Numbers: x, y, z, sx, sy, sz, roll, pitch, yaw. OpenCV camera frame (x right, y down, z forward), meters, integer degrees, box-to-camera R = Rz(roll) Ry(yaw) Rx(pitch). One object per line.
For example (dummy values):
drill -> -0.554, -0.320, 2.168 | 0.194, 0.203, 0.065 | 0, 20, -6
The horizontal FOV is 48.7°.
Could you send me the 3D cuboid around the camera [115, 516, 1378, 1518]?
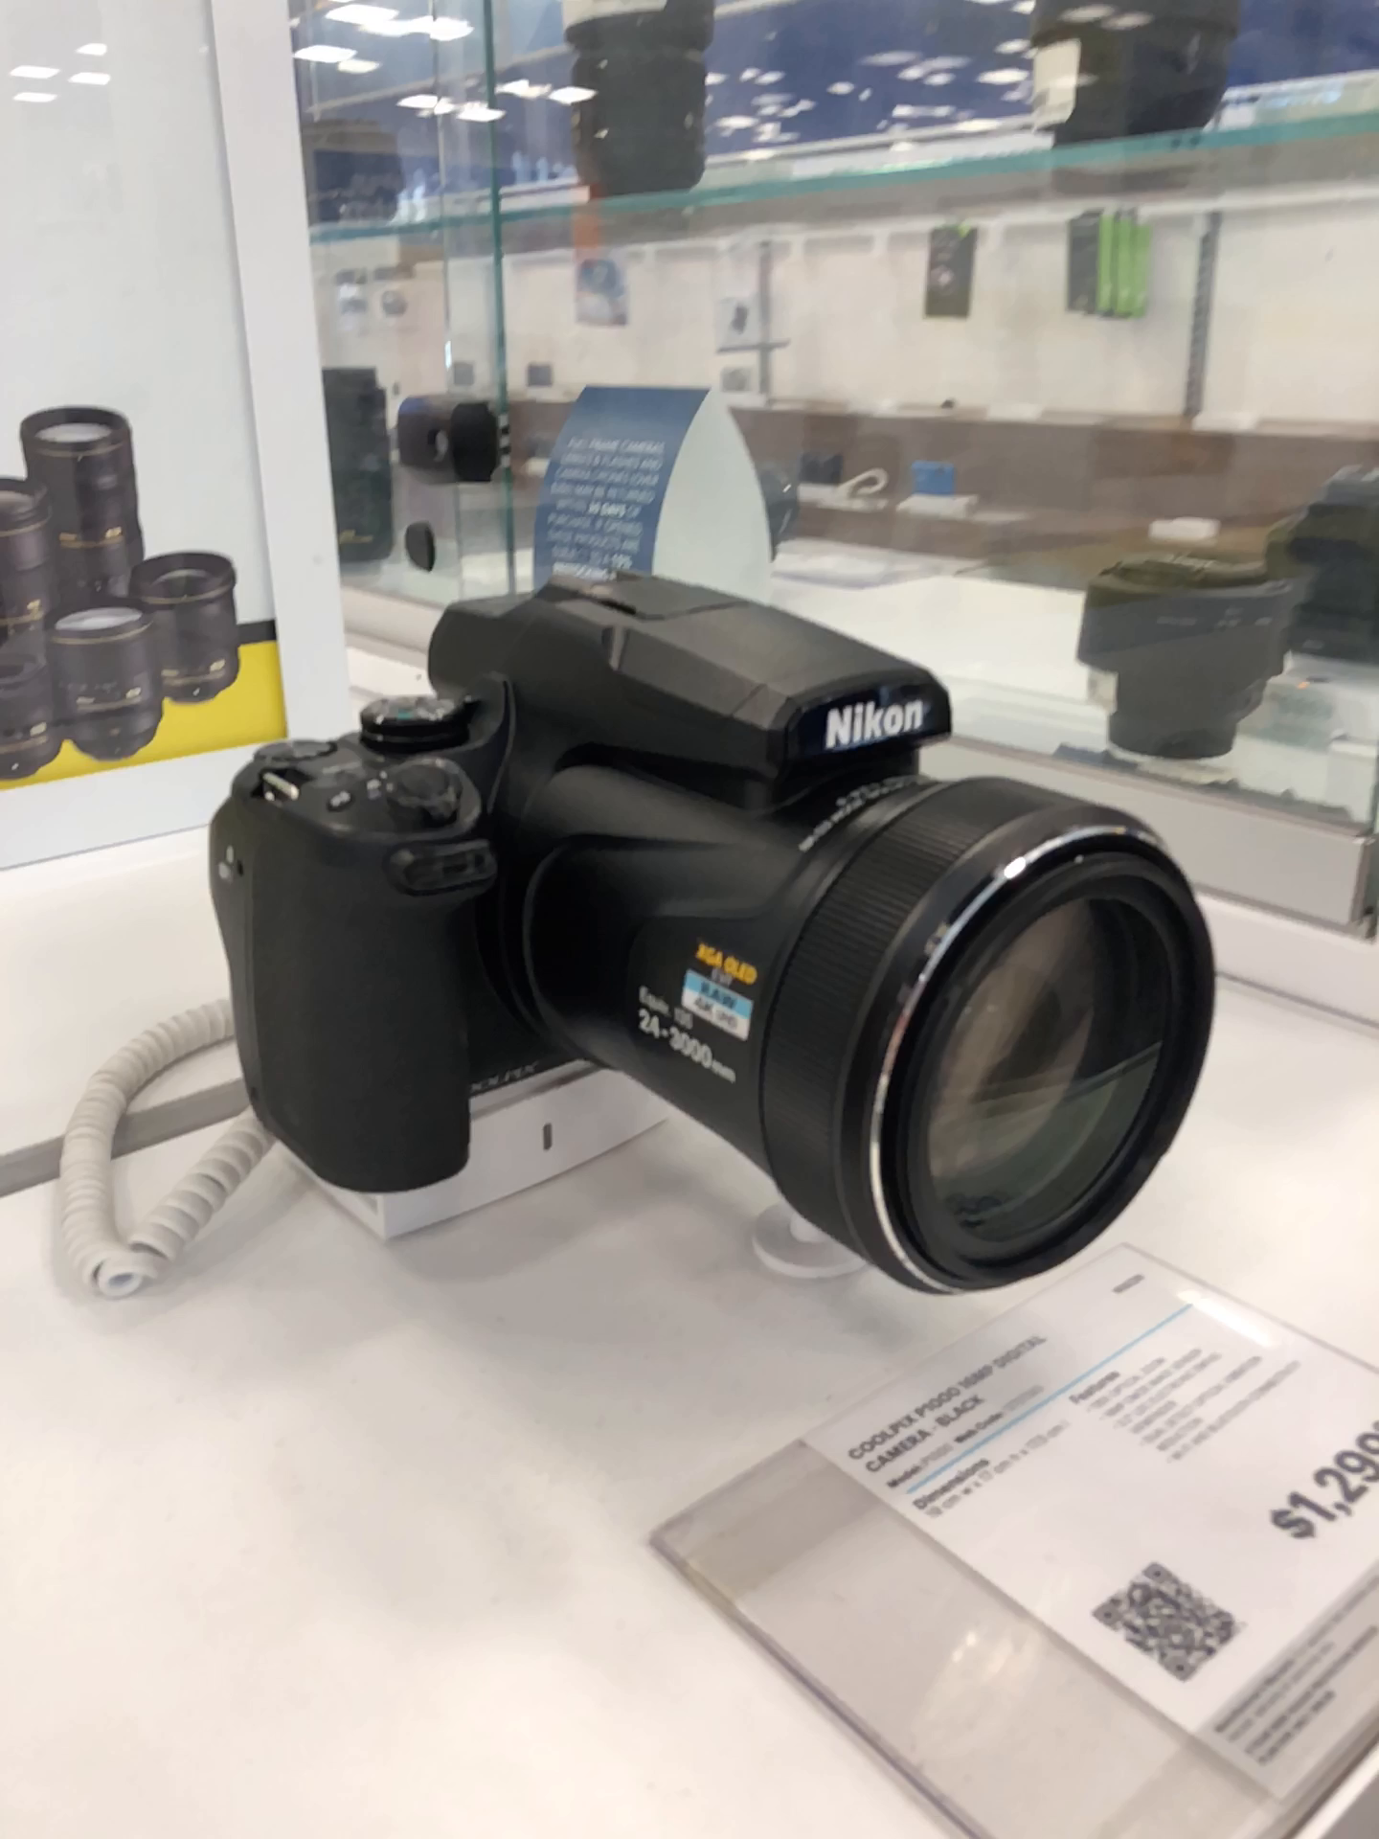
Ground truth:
camera -> 0.005, -0.012, 0.310 | 0.160, 0.110, 0.190 | -17, 26, -36
